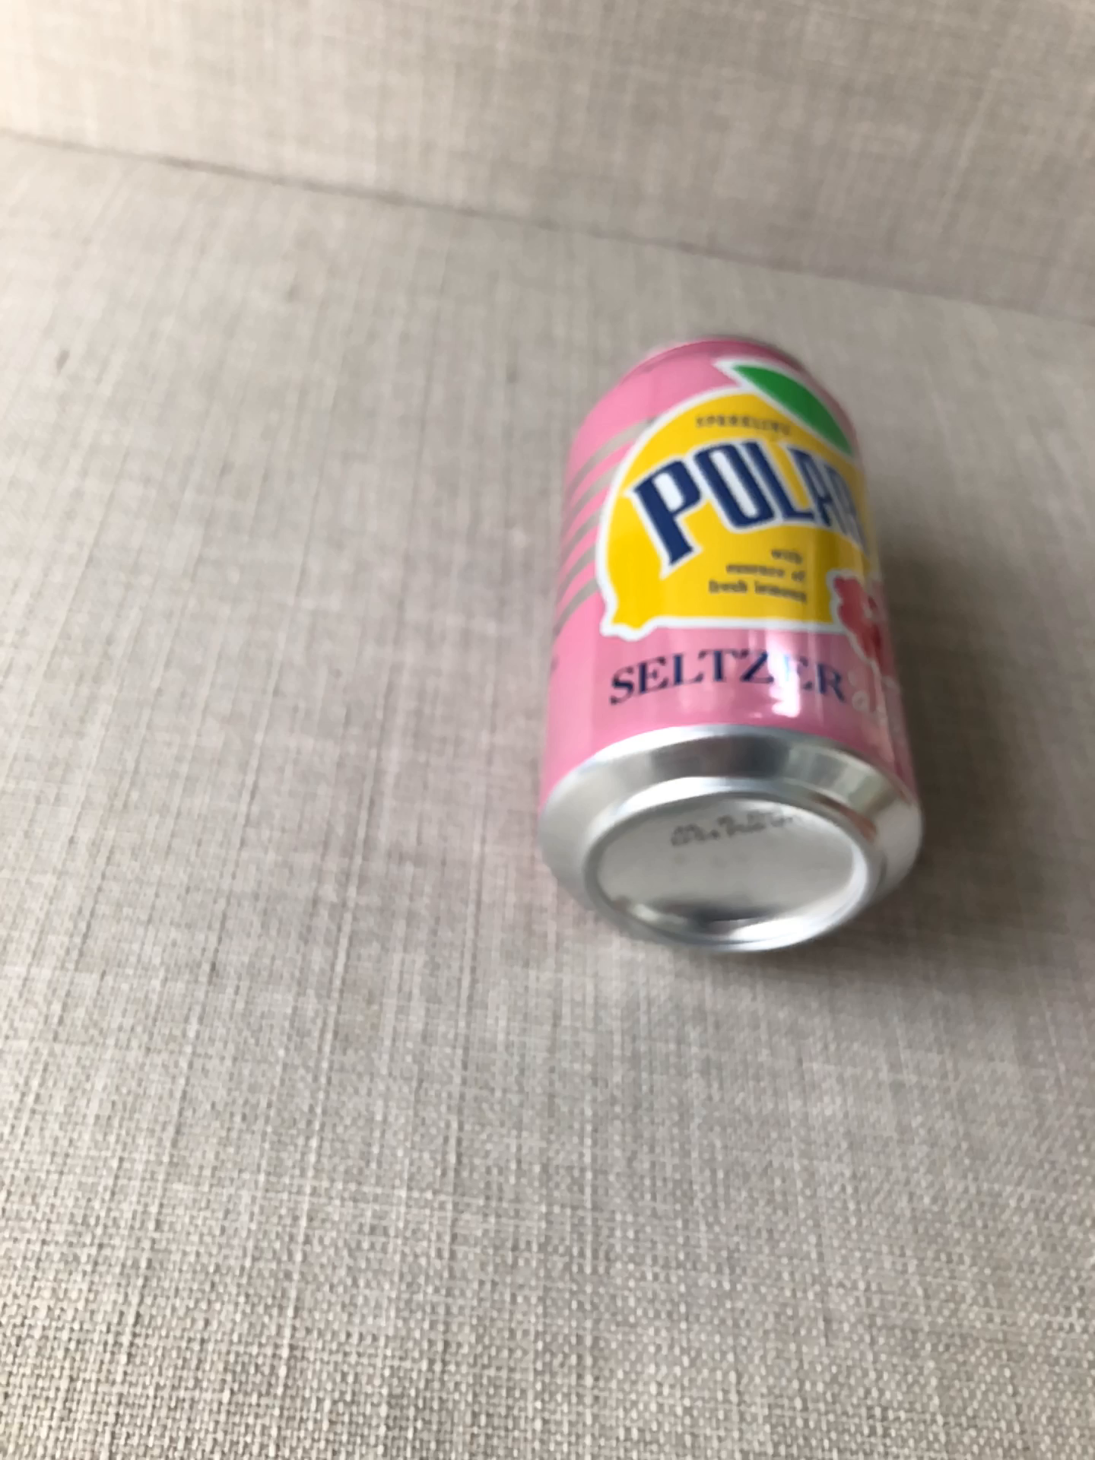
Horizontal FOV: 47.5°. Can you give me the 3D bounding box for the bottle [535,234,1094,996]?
[{"bbox_3d":[0.041,-0.024,0.234,0.070,0.065,0.123,8,51,-7],"label":"bottle"}]
